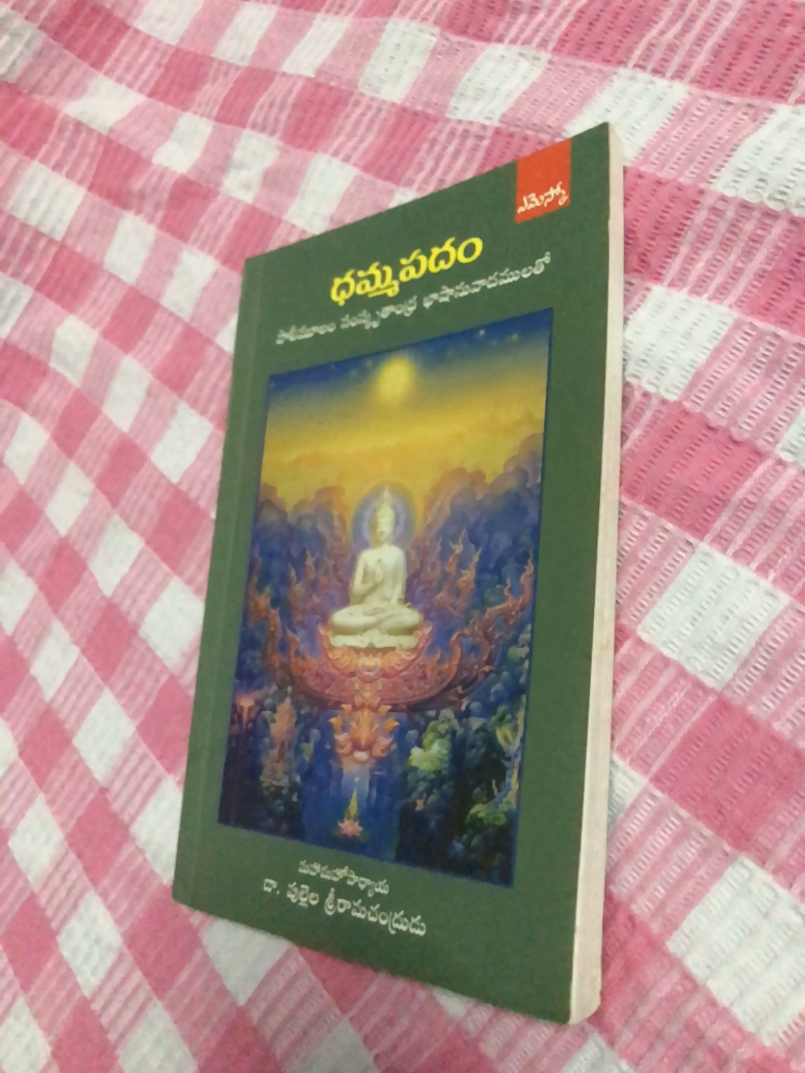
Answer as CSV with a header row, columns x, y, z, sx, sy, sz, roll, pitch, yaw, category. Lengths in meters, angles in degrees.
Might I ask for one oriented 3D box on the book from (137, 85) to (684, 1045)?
x,y,z,sx,sy,sz,roll,pitch,yaw,category
-0.002,0.001,0.233,0.140,0.020,0.200,-5,74,37,book
